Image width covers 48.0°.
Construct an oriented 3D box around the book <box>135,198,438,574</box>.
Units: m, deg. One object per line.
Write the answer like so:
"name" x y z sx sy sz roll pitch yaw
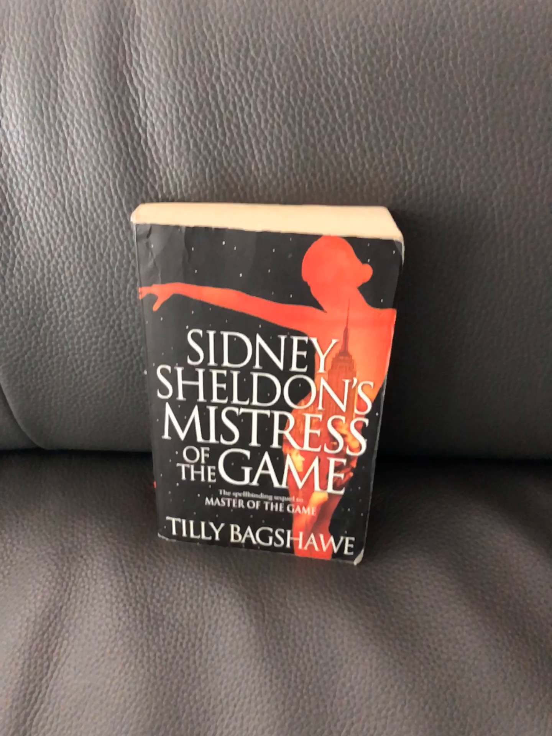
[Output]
"book" 0.005 0.015 0.305 0.118 0.179 0.046 5 31 7
